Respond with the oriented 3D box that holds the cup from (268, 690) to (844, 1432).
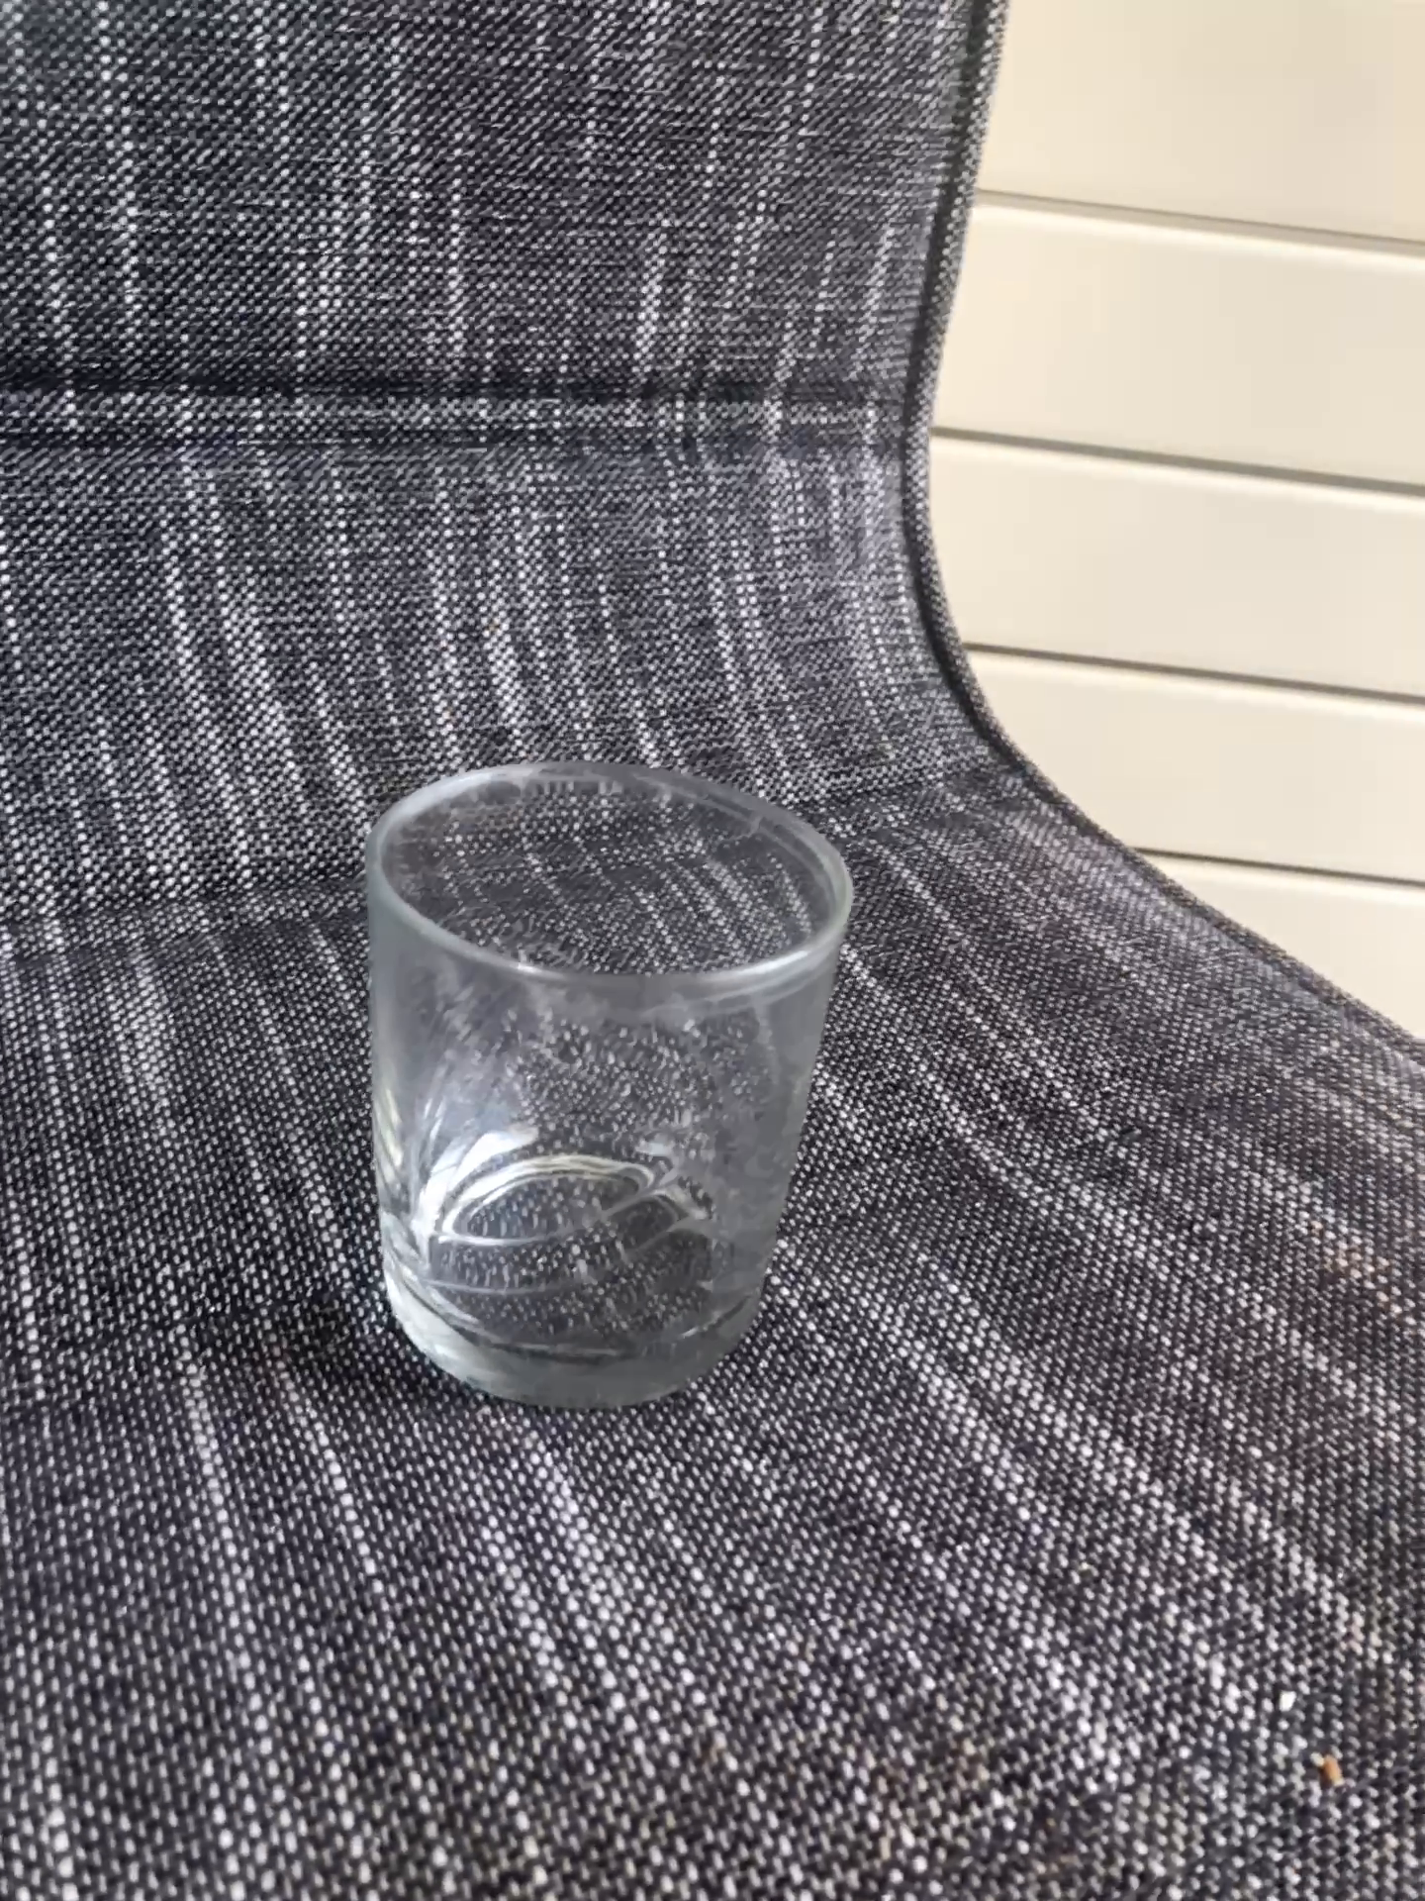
[{"bbox_3d":[-0.021,0.015,0.243,0.070,0.079,0.070,5,31,-3],"label":"cup"}]
